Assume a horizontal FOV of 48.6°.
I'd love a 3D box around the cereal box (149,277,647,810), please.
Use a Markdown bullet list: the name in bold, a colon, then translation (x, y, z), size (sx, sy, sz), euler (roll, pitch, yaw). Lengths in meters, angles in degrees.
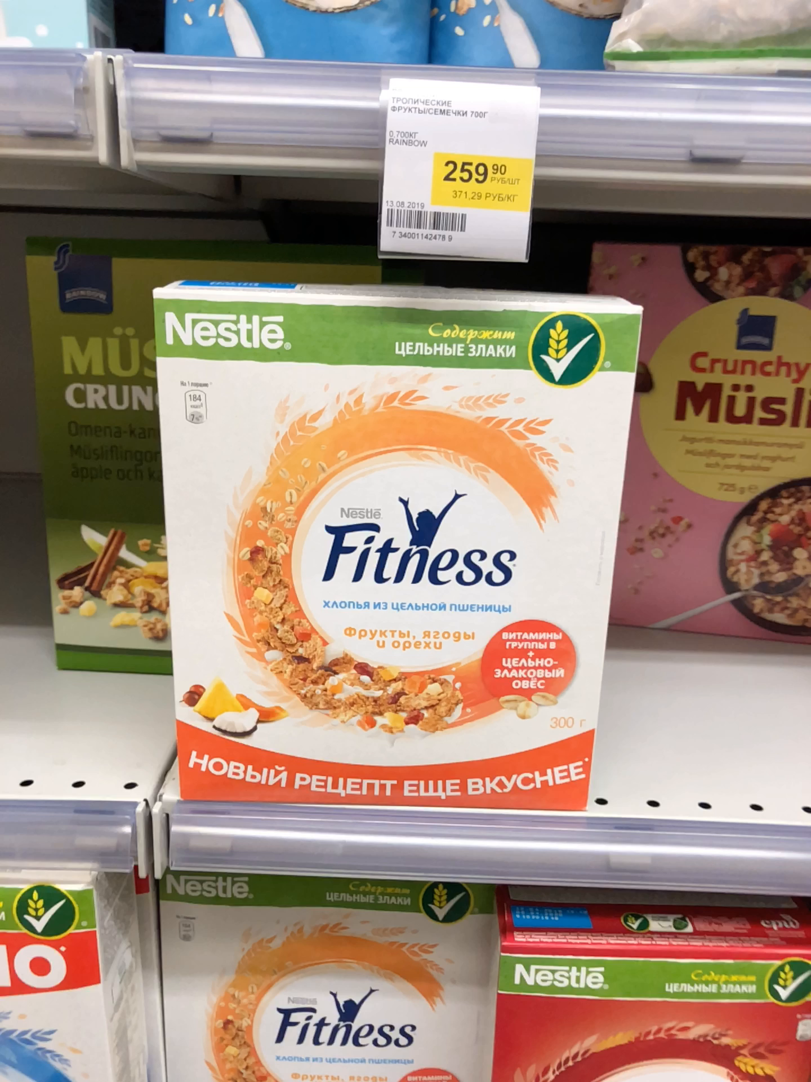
- **cereal box**: translation (-0.006, 0.005, 0.403), size (0.190, 0.229, 0.050), euler (2, 19, -1)
